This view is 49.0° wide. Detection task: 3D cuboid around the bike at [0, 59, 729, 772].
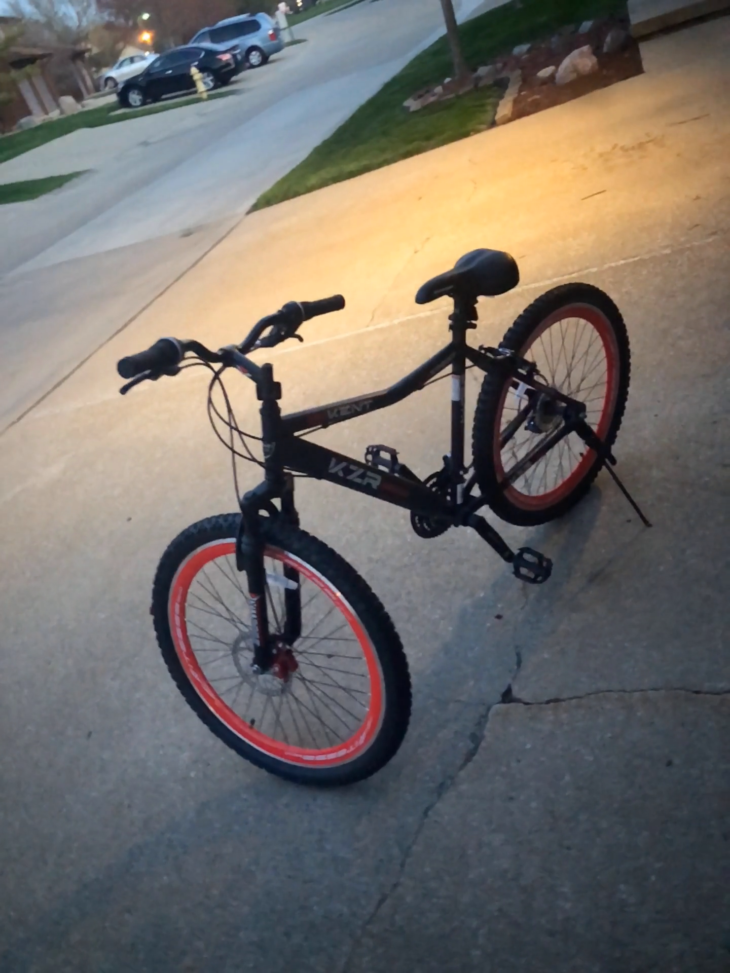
[{"bbox_3d":[0.082,-0.190,1.915,1.424,1.031,0.601,-31,31,-19],"label":"bike"}]
